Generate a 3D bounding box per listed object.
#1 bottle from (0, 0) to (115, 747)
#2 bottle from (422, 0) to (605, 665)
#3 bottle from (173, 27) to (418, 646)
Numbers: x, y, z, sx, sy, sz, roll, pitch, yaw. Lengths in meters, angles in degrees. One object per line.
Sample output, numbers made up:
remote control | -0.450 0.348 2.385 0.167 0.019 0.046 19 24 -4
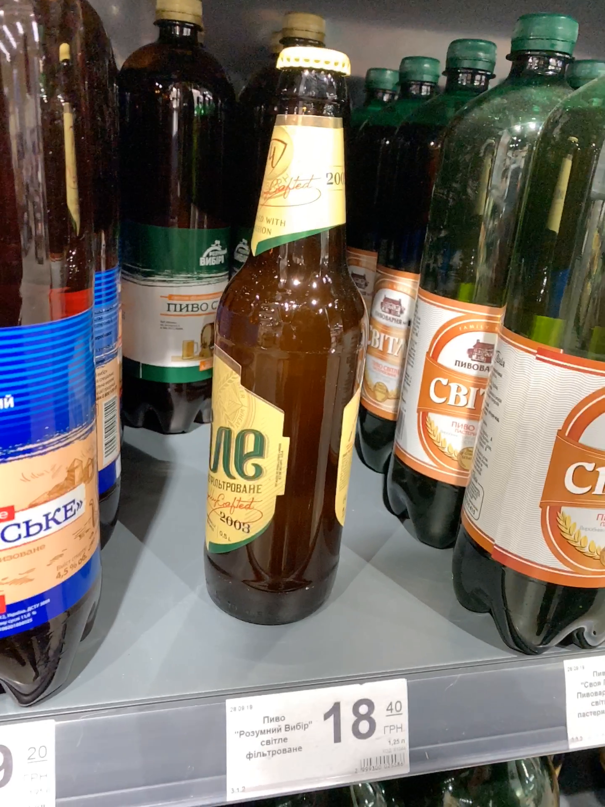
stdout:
bottle | -0.113 -0.030 0.210 0.084 0.283 0.070 -3 23 -21
bottle | 0.125 -0.026 0.273 0.084 0.277 0.071 0 22 -13
bottle | -0.014 -0.020 0.287 0.070 0.248 0.069 4 21 -2
